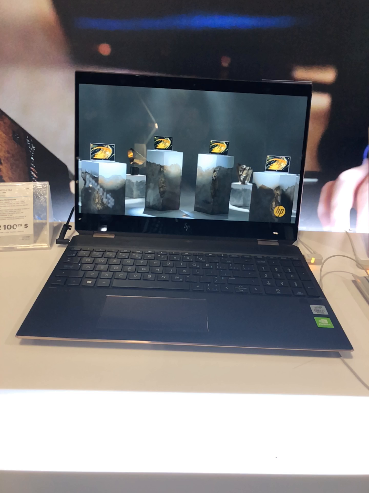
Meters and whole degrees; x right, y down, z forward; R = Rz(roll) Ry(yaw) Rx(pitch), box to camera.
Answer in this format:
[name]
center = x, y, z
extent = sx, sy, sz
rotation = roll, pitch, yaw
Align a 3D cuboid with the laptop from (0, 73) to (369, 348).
[laptop]
center = 0.002, -0.074, 0.515
extent = 0.332, 0.226, 0.323
rotation = 3, 26, -4
